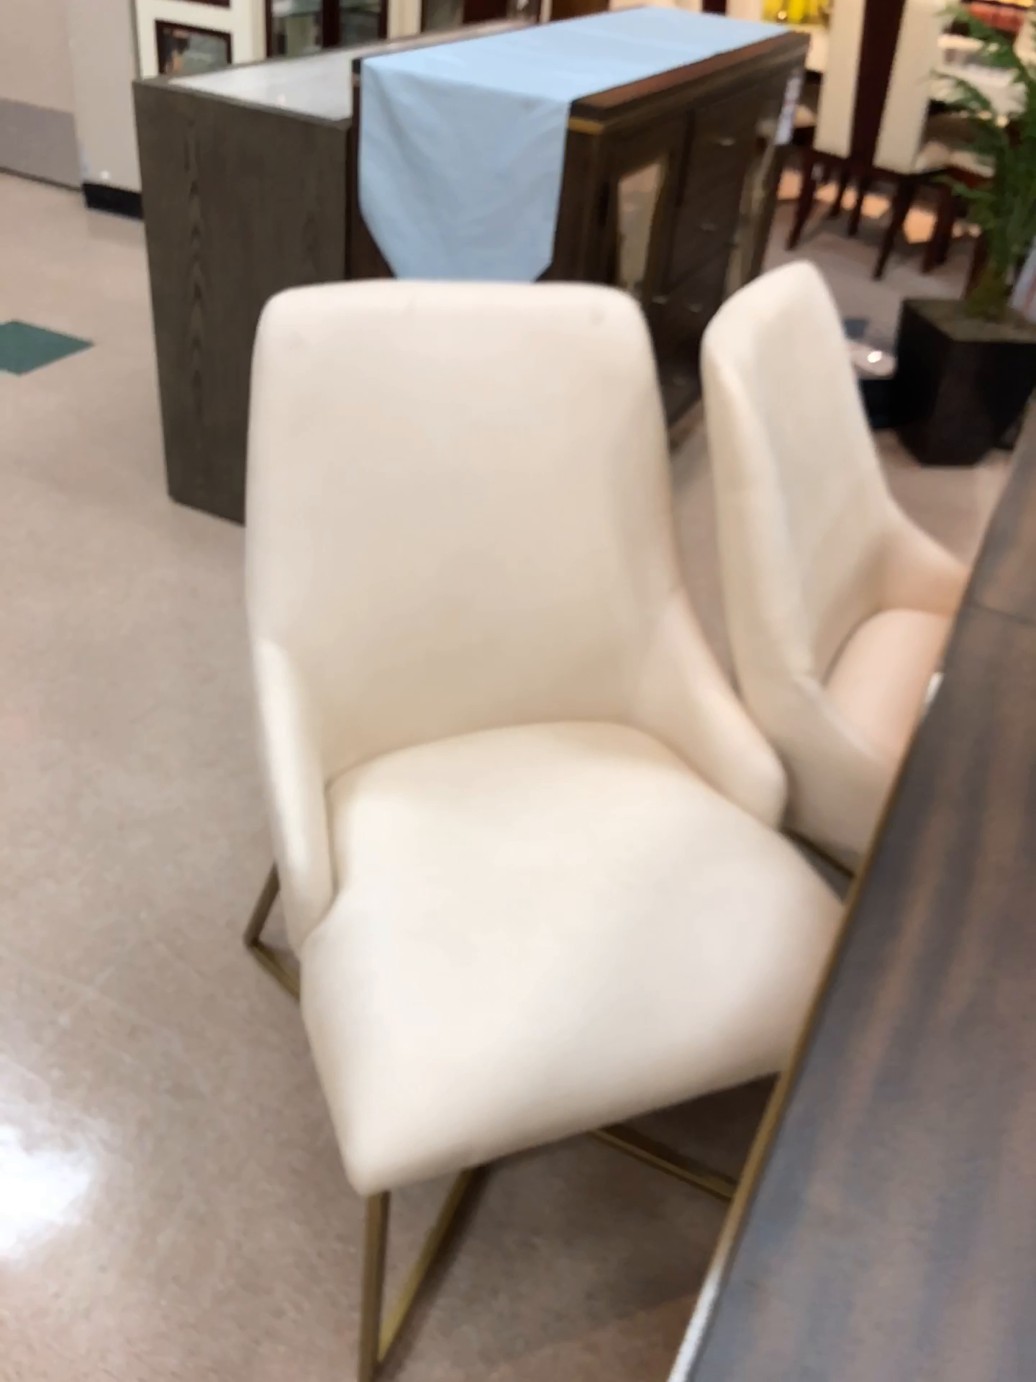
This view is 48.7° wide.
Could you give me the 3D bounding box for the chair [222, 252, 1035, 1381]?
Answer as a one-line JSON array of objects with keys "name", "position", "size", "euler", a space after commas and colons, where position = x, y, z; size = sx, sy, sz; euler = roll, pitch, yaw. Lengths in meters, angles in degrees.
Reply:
[{"name": "chair", "position": [0.043, 0.114, 1.169], "size": [0.540, 0.904, 0.644], "euler": [-8, 38, -19]}]
